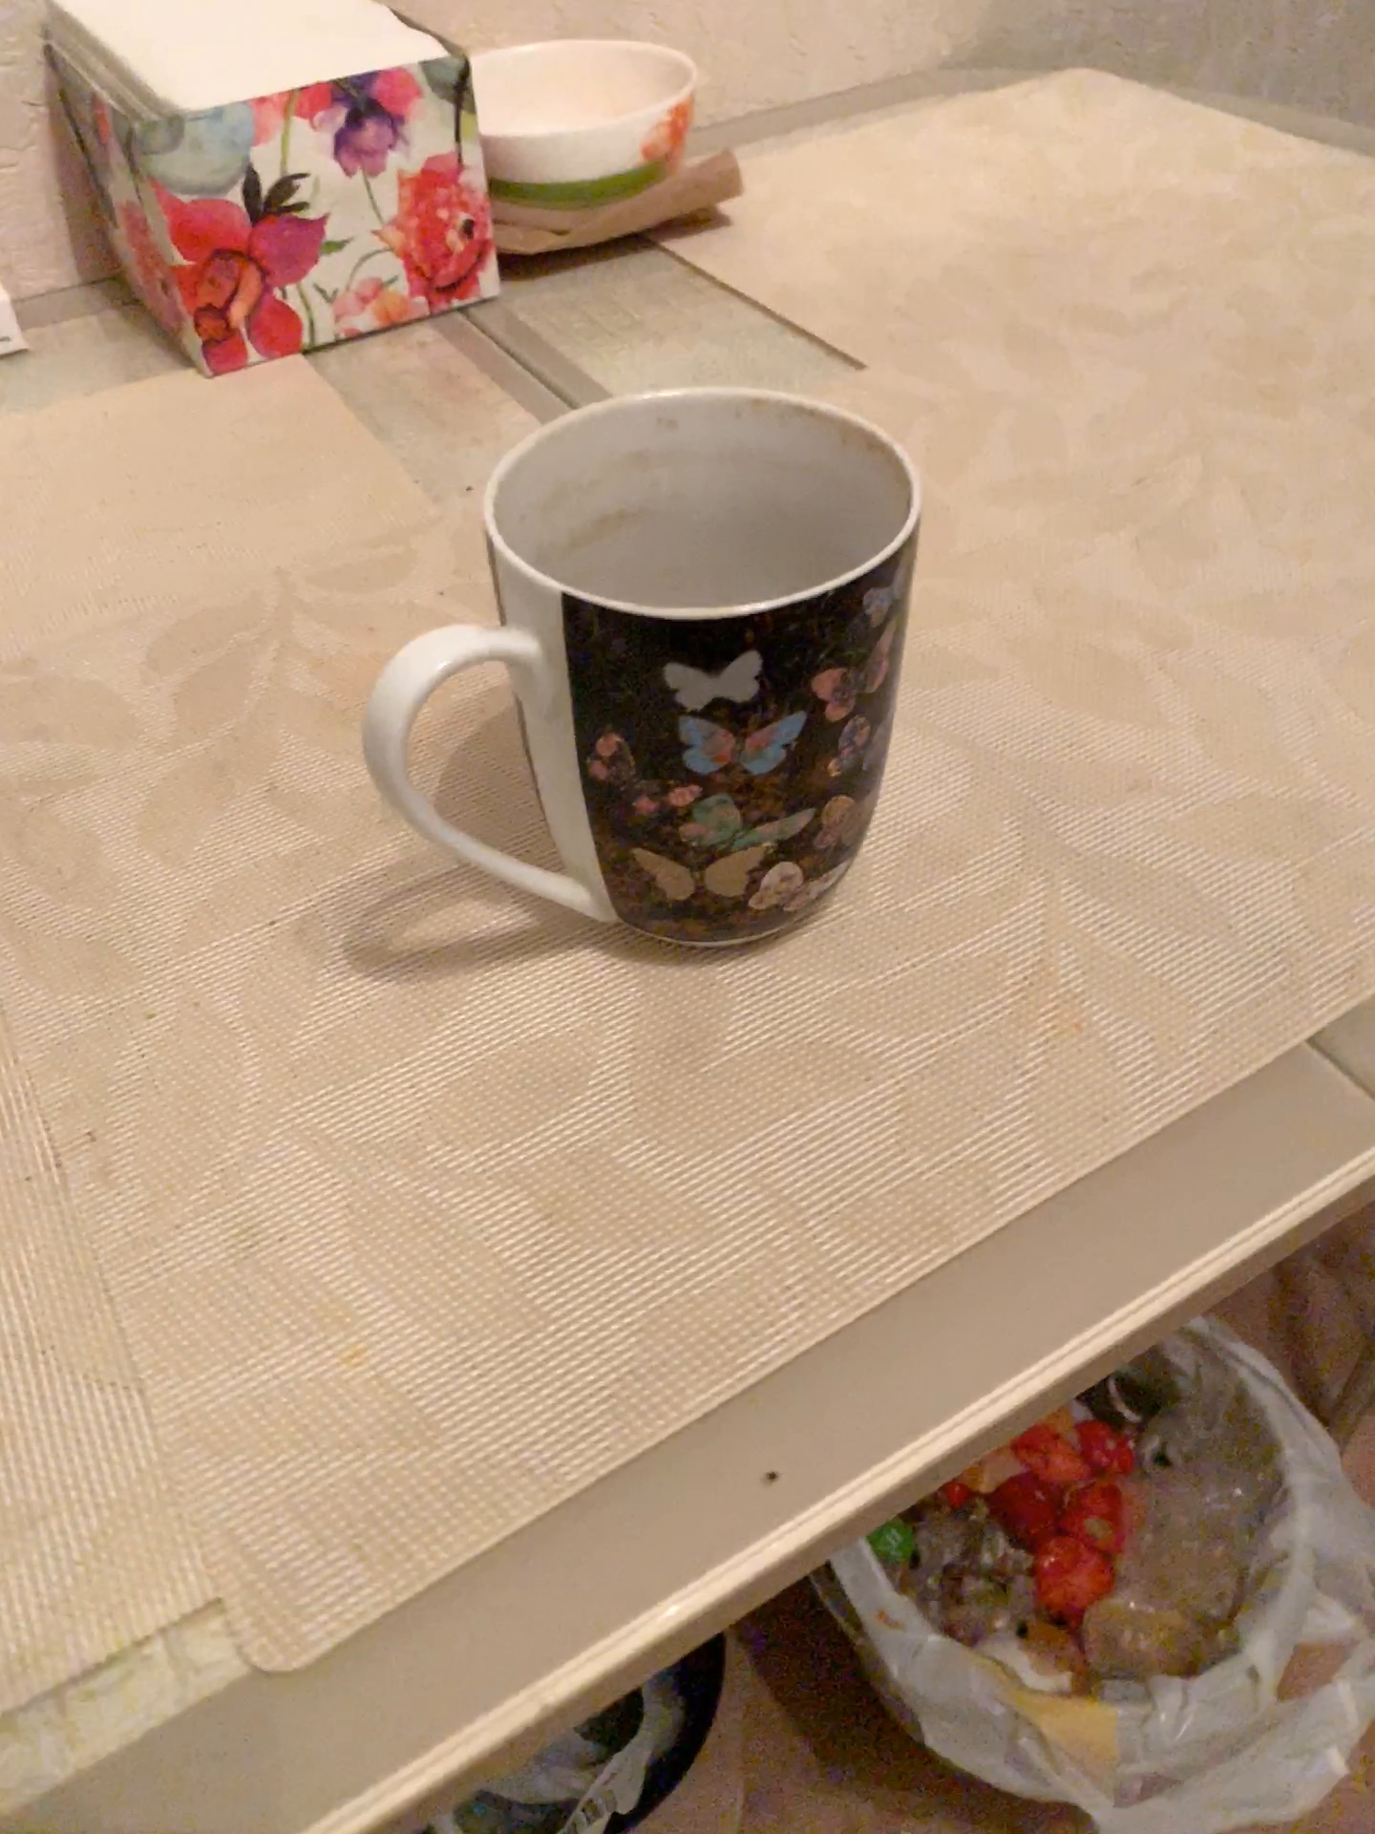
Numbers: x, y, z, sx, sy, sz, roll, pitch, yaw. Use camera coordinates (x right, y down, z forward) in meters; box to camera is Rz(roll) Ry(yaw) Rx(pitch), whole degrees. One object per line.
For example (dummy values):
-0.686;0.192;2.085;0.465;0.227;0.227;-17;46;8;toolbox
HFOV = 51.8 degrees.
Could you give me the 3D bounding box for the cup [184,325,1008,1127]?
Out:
-0.015;-0.043;0.291;0.126;0.097;0.082;-27;50;-21;cup
